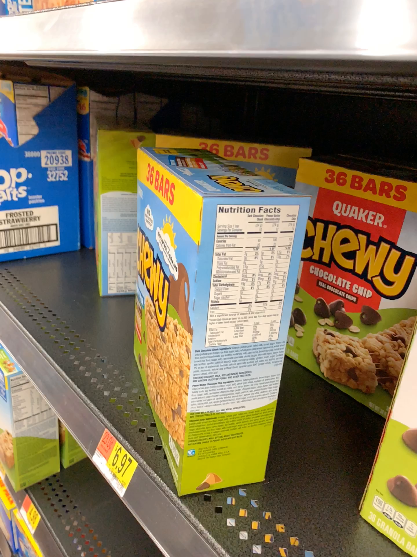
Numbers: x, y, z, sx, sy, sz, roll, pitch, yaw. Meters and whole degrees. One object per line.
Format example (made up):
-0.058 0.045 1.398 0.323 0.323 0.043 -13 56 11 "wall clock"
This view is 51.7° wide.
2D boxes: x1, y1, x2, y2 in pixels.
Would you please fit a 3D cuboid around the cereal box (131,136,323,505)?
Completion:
-0.011 0.014 0.361 0.070 0.229 0.201 -2 24 -19 "cereal box"
